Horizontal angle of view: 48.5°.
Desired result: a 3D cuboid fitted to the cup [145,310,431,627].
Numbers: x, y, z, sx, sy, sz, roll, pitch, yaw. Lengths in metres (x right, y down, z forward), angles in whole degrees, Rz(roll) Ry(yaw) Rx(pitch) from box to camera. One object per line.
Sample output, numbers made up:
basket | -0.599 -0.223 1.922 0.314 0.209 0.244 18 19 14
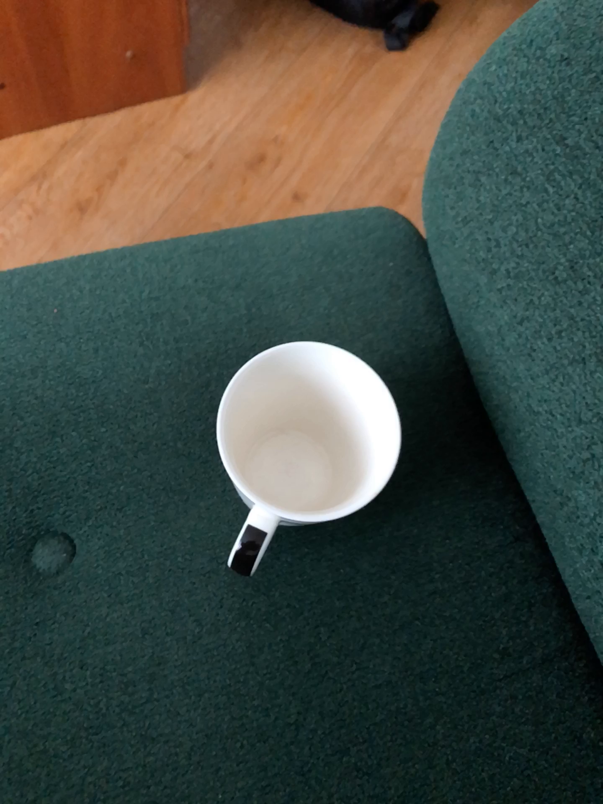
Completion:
cup | -0.006 0.040 0.359 0.095 0.095 0.120 23 68 4
